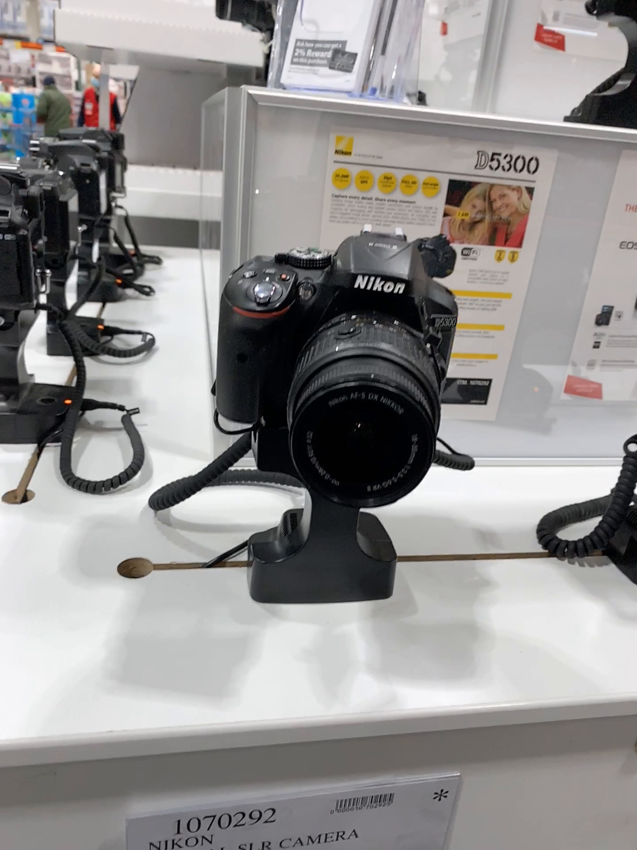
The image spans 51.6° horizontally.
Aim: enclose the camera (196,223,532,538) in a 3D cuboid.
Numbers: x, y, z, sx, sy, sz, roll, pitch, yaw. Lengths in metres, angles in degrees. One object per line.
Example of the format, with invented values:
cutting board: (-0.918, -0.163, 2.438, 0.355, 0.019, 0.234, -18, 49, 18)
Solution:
camera: (0.015, -0.034, 0.326, 0.120, 0.099, 0.151, 5, 23, -1)
